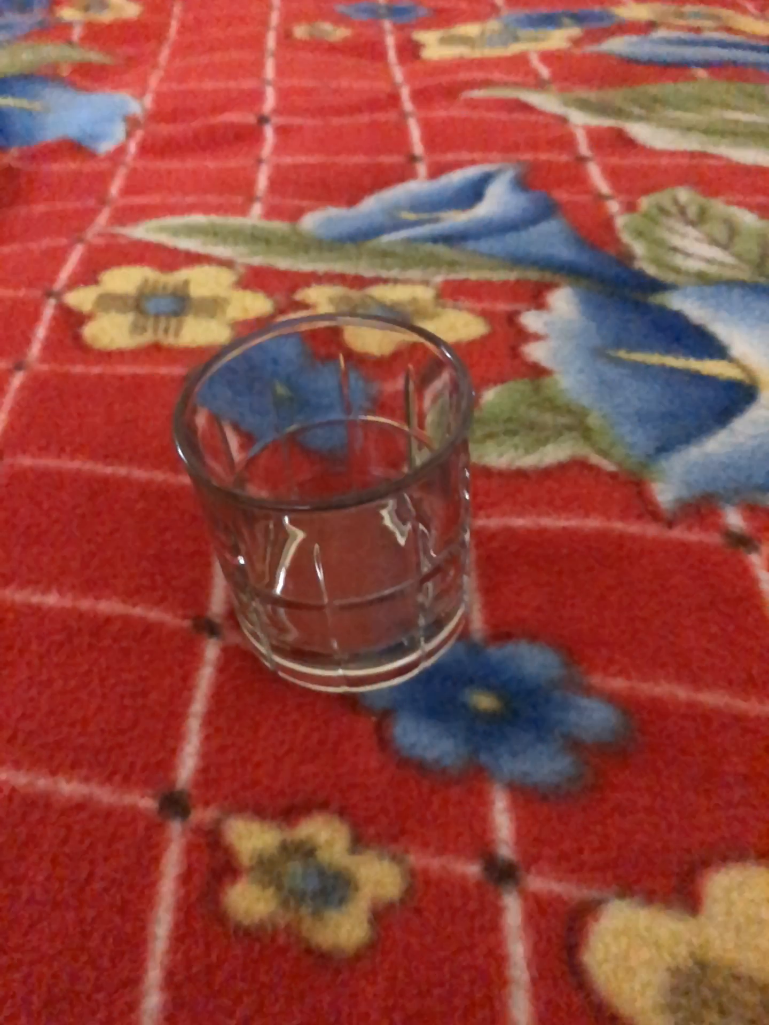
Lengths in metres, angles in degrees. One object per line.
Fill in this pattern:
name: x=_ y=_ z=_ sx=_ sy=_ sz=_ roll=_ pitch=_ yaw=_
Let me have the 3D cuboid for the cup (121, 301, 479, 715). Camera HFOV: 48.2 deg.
cup: x=-0.017 y=0.000 z=0.260 sx=0.083 sy=0.088 sz=0.084 roll=-3 pitch=46 yaw=3
